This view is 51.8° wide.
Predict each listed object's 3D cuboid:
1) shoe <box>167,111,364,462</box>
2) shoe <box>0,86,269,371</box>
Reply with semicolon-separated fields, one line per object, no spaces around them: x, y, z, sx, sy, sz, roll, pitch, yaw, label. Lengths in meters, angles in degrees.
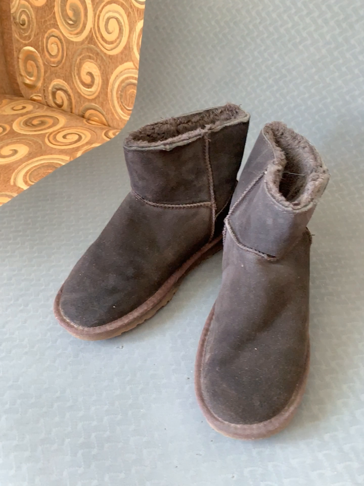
0.073;0.019;0.322;0.100;0.139;0.254;8;49;11;shoe
-0.034;-0.027;0.375;0.100;0.139;0.253;32;58;28;shoe
